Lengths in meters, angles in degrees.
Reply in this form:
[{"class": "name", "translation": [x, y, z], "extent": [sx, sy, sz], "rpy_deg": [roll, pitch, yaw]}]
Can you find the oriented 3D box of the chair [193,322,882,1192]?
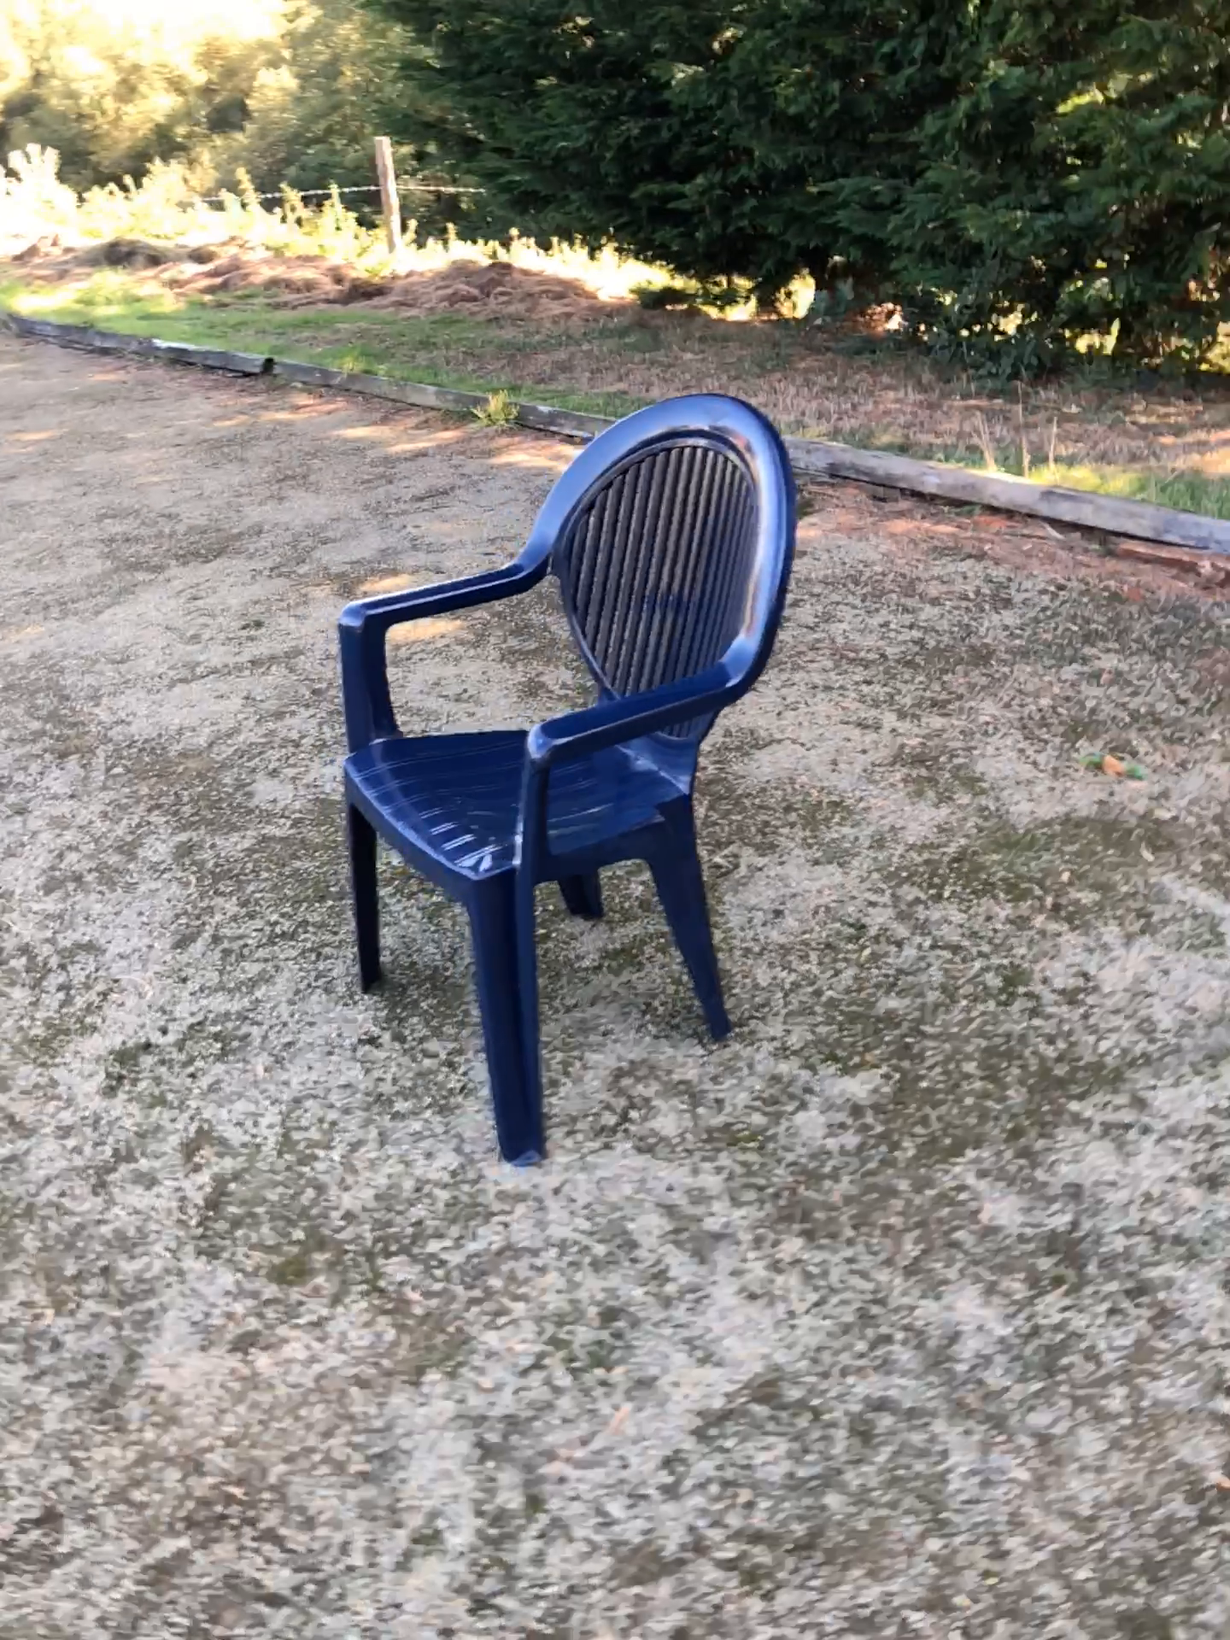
[{"class": "chair", "translation": [-0.087, -0.129, 1.751], "extent": [0.572, 0.855, 0.591], "rpy_deg": [-21, 34, -29]}]
